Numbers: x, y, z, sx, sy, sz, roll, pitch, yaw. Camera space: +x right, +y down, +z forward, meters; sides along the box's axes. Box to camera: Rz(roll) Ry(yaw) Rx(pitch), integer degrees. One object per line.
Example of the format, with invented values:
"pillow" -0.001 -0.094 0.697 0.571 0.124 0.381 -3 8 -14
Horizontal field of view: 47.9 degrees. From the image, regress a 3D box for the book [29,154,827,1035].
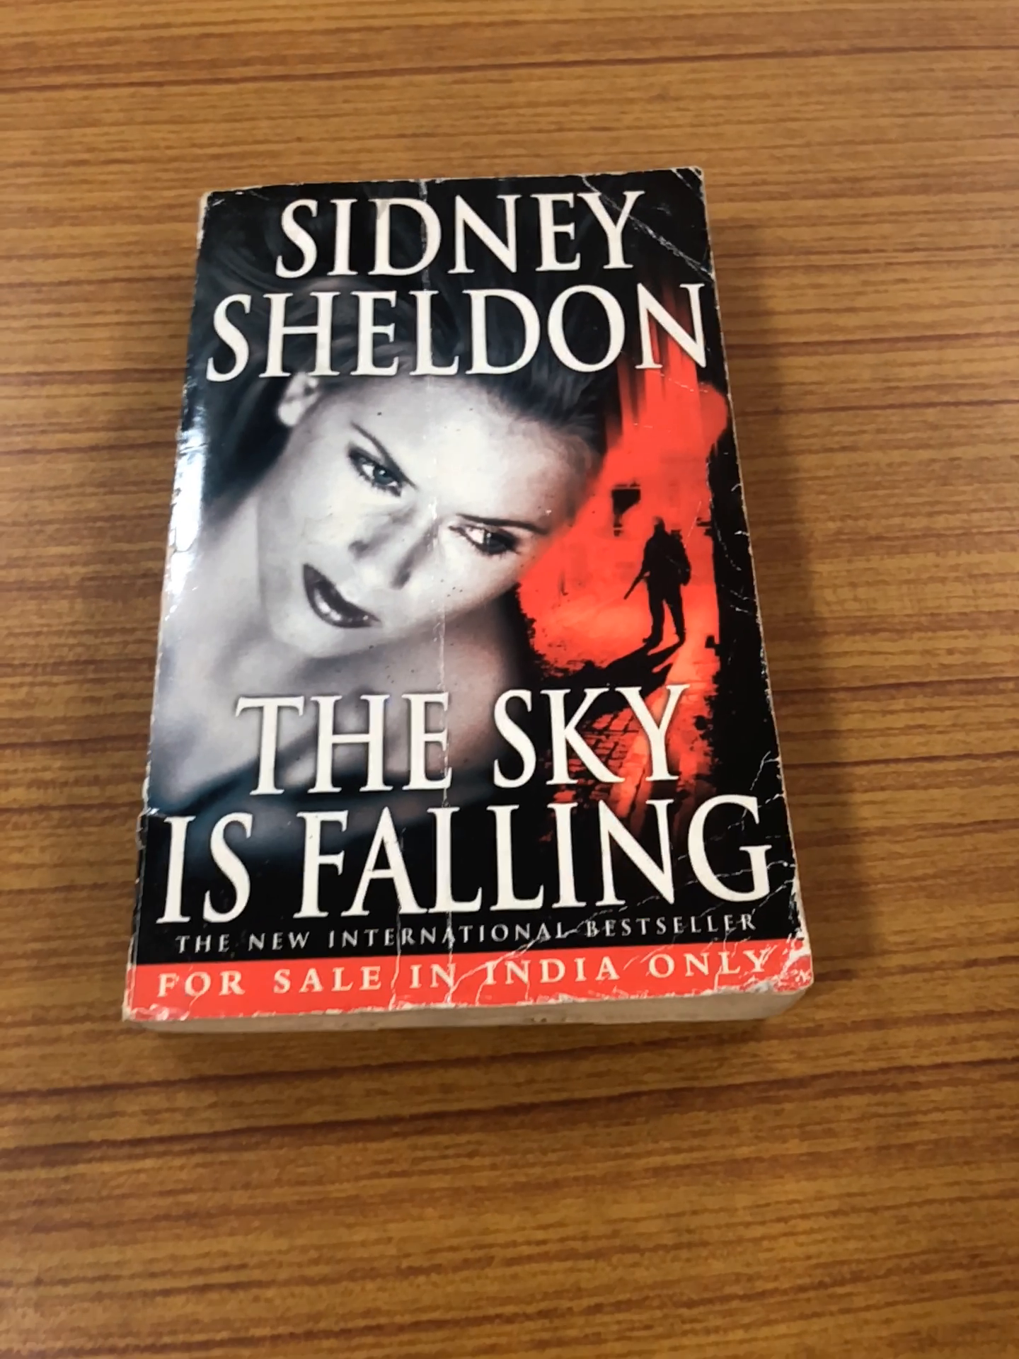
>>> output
"book" -0.014 -0.023 0.219 0.120 0.030 0.170 -1 68 -1
